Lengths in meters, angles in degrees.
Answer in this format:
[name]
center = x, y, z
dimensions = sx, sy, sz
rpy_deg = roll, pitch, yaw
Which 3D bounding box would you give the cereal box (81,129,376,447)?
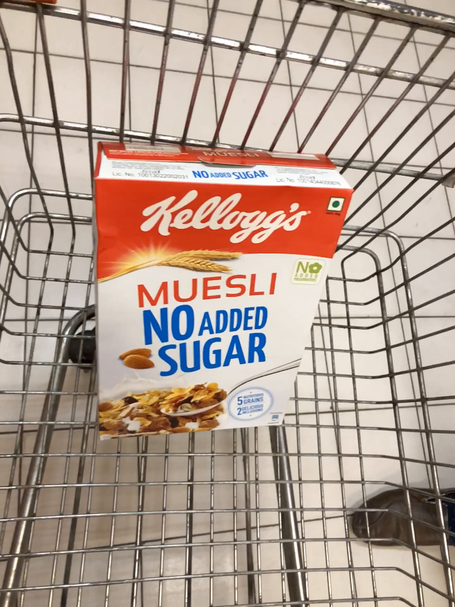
[cereal box]
center = -0.019, 0.003, 0.418
dimensions = 0.190, 0.259, 0.070
rpy_deg = -1, 40, -15
